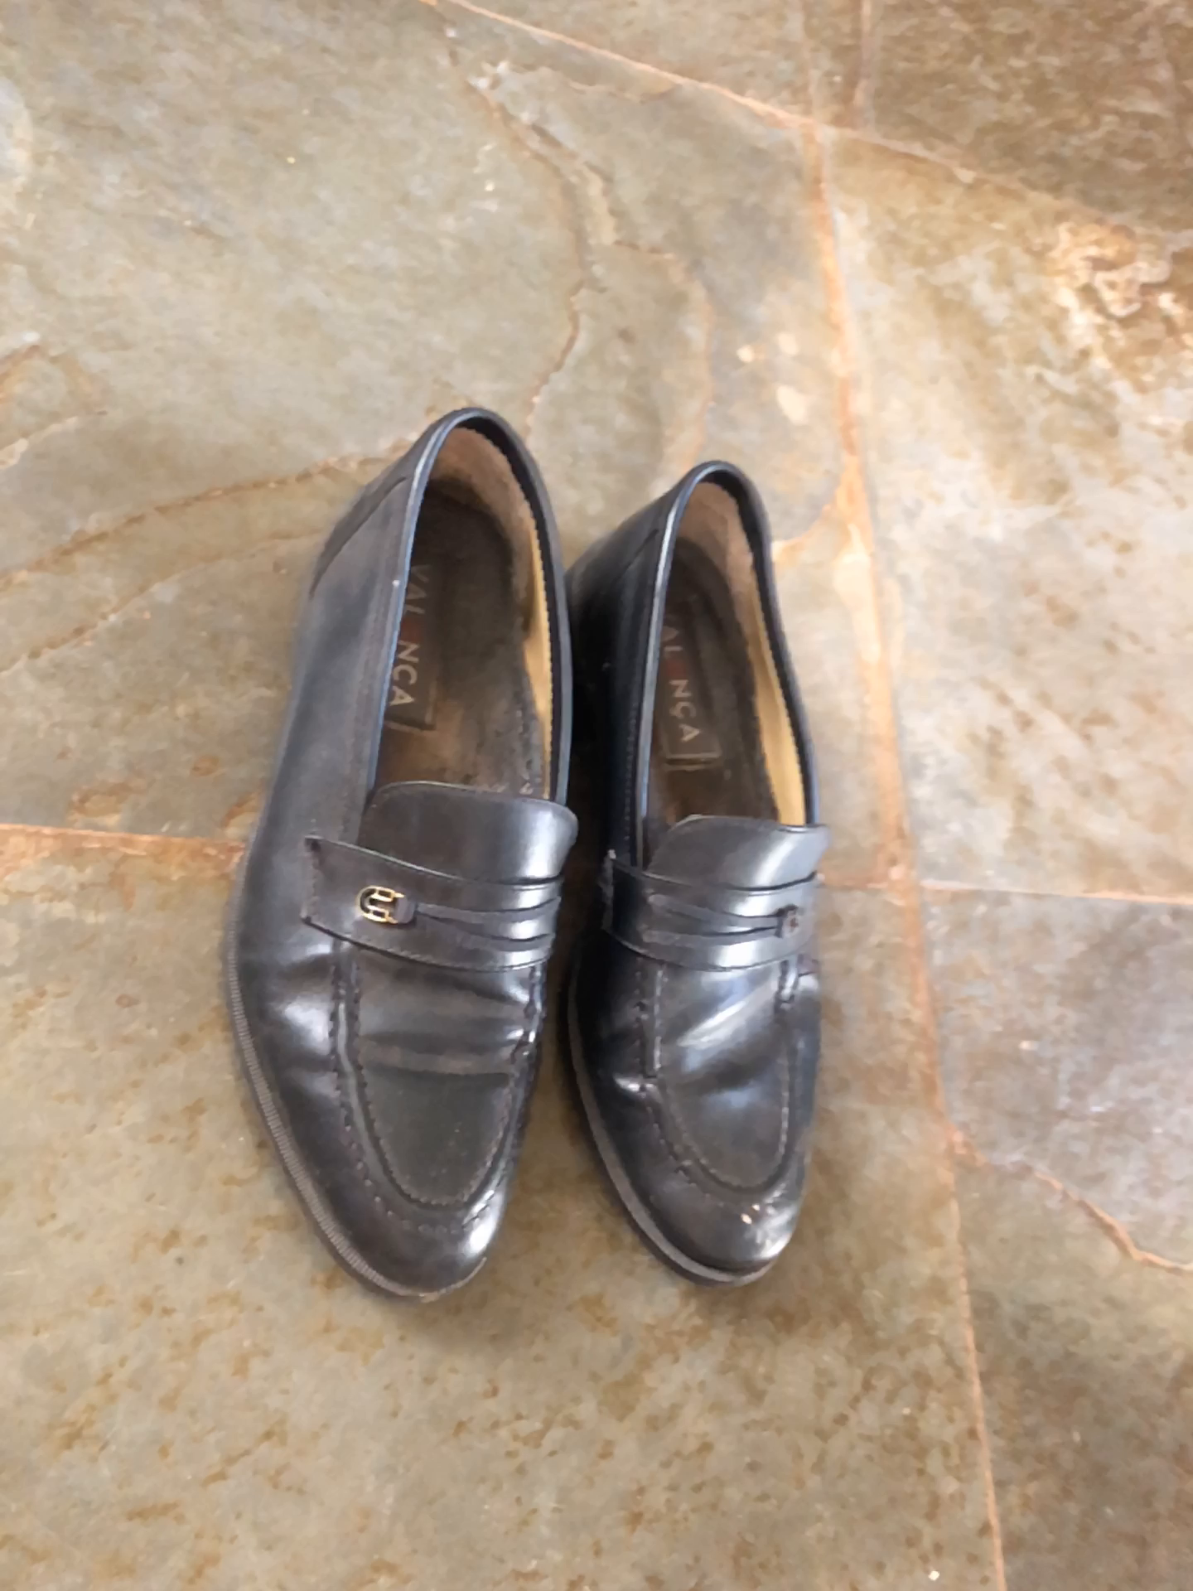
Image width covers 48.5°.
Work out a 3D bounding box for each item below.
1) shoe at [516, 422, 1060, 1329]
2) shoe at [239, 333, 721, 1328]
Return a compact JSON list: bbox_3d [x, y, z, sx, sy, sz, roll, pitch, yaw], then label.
[{"bbox_3d":[0.050,0.025,0.430,0.100,0.099,0.261,2,71,-24],"label":"shoe"},{"bbox_3d":[-0.041,0.013,0.392,0.100,0.099,0.261,6,69,-23],"label":"shoe"}]
